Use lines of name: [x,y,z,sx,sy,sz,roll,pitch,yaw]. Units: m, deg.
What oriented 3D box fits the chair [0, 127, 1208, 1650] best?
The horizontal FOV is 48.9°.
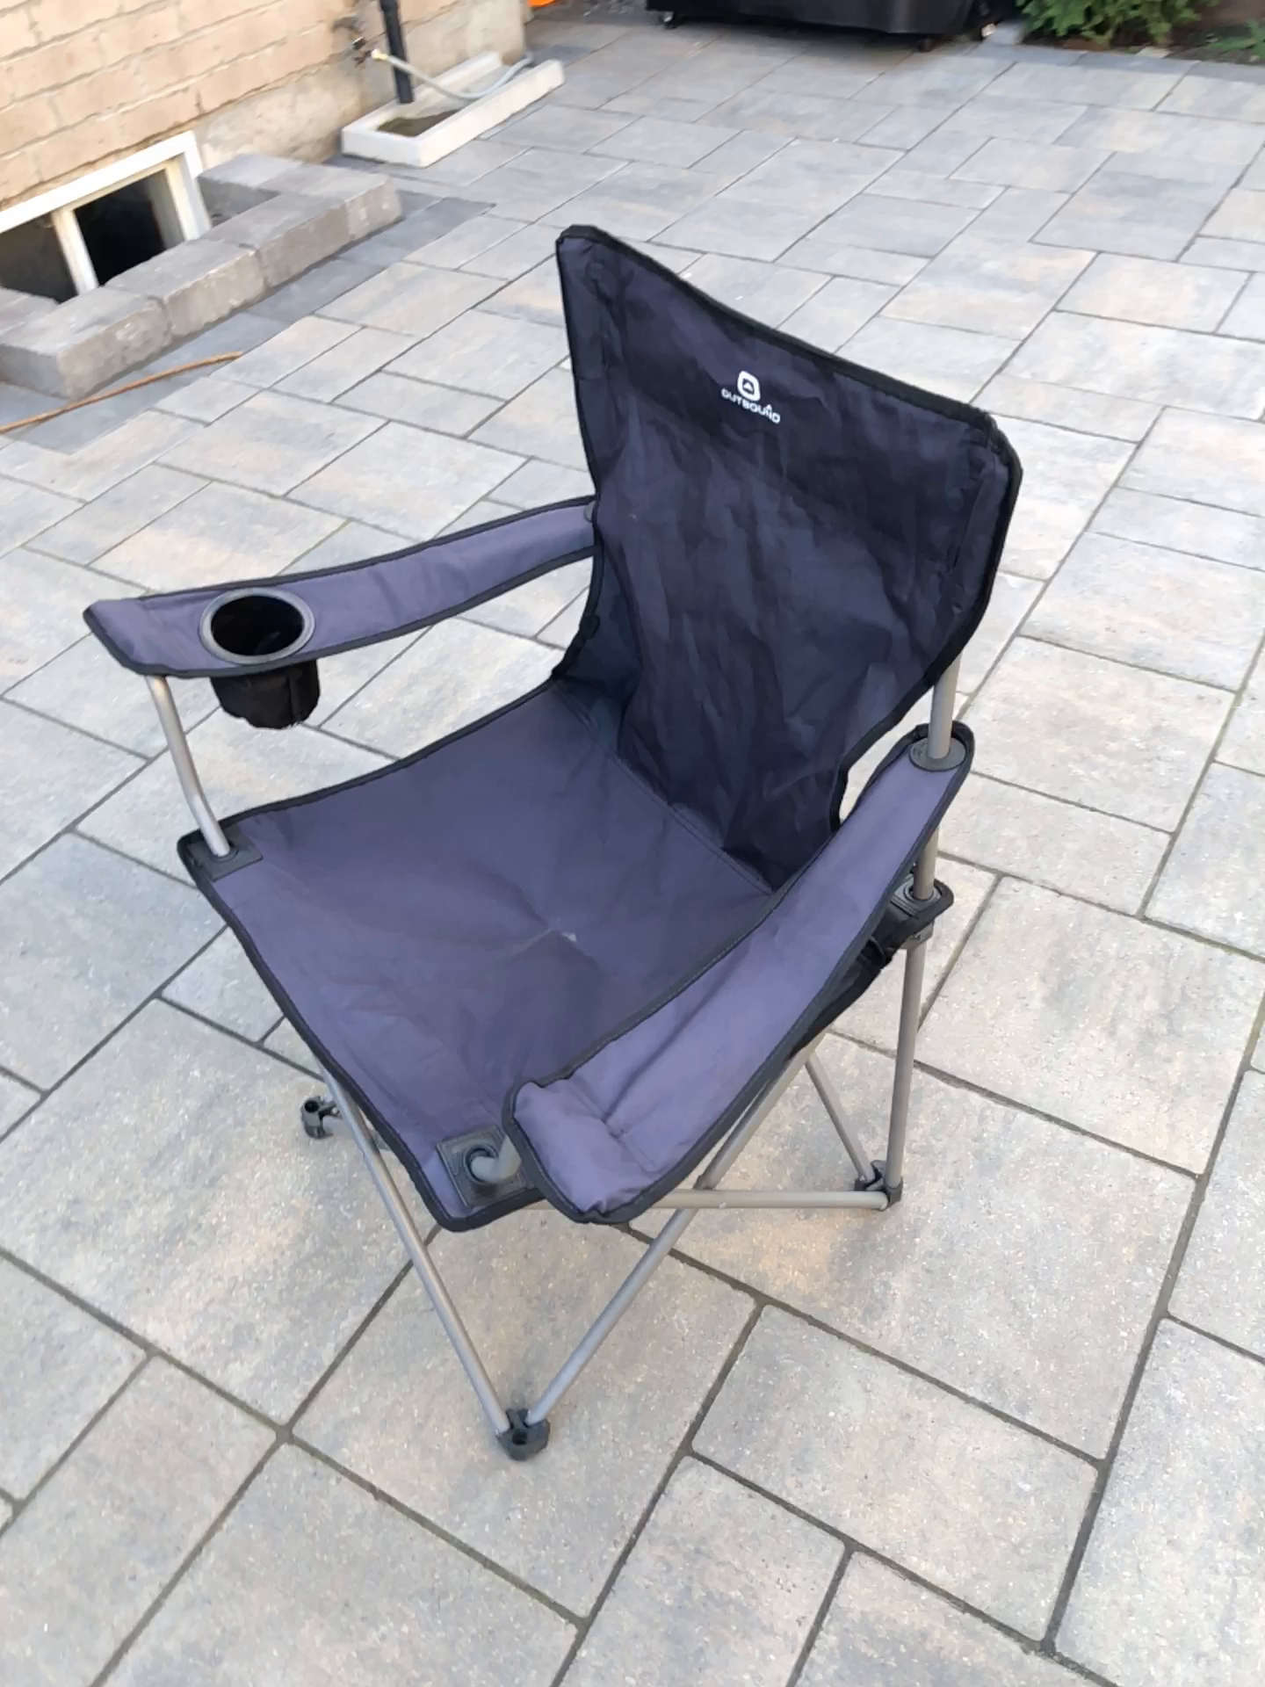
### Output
chair: [-0.103,0.008,1.109,0.571,0.817,0.692,-29,48,-24]
